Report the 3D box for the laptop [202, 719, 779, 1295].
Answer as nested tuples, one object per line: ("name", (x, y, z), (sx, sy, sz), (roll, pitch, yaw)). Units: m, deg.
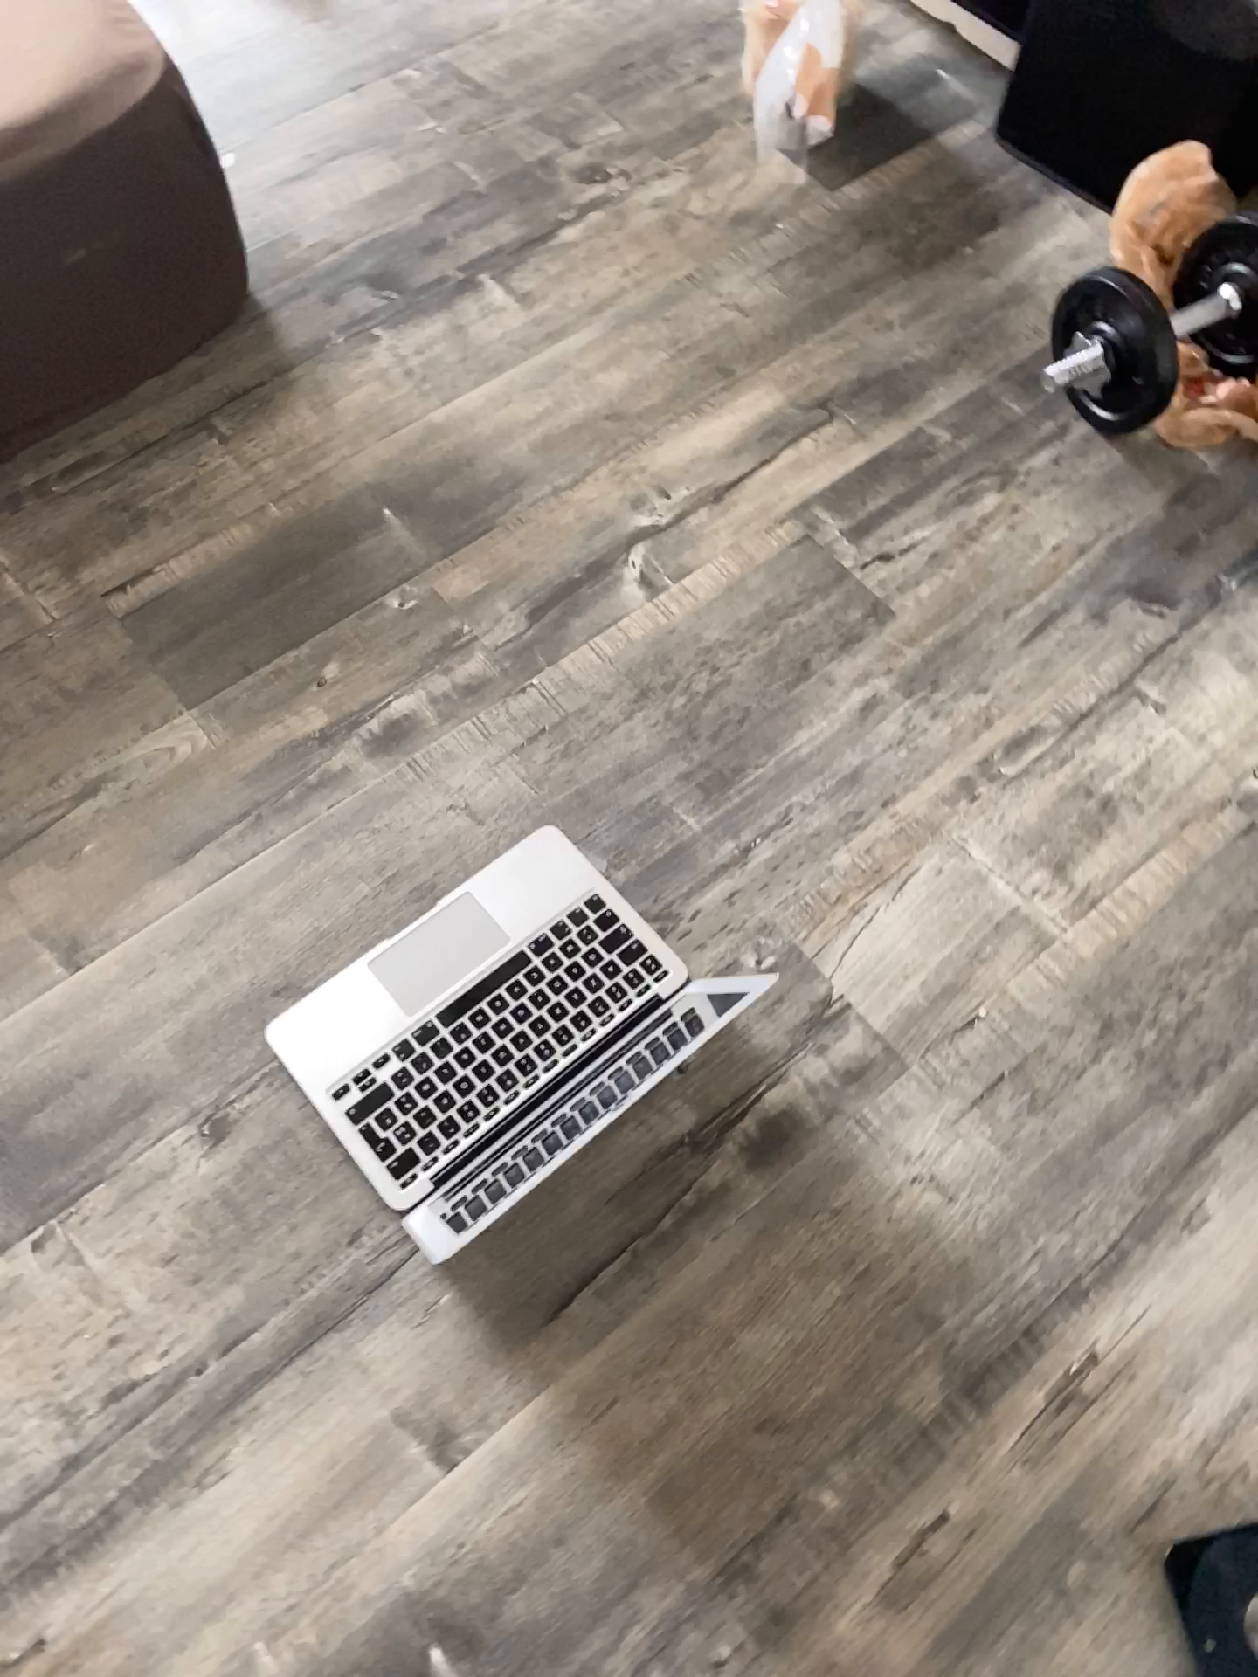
("laptop", (-0.094, 0.119, 0.931), (0.290, 0.159, 0.254), (-37, 71, -19))
